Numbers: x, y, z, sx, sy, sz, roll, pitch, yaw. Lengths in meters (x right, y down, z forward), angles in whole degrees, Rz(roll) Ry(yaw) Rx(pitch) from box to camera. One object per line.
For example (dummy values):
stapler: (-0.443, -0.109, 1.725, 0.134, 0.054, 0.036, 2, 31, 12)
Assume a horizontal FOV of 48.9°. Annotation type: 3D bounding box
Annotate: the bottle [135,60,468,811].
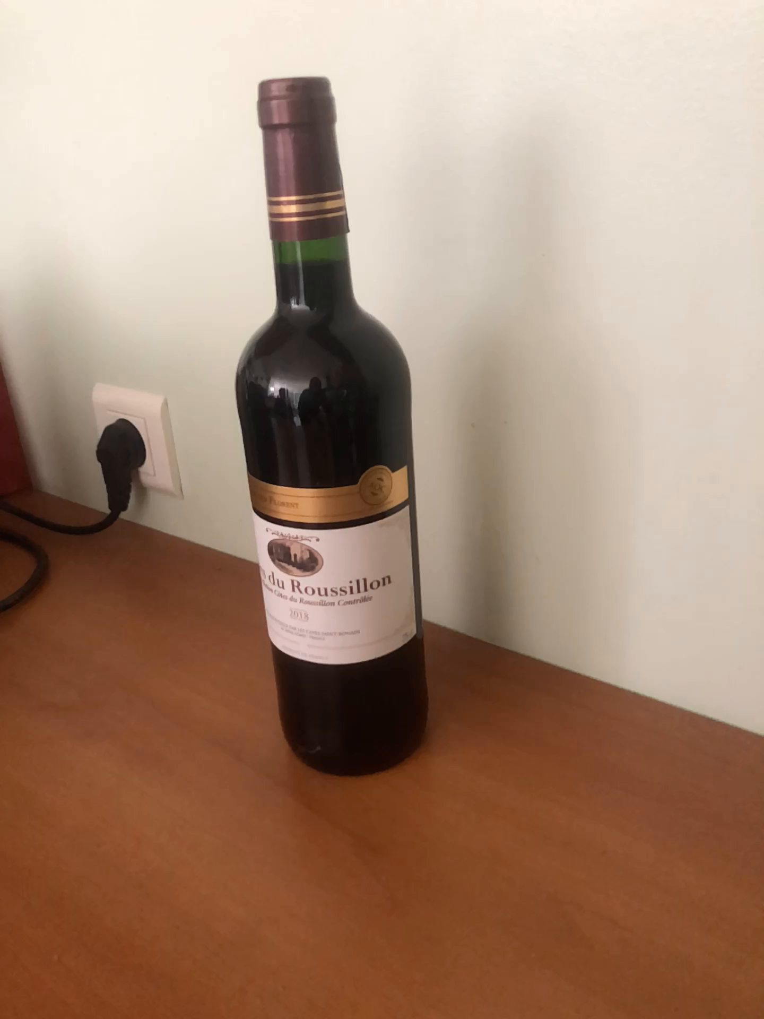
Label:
bottle: (-0.021, -0.024, 0.356, 0.080, 0.288, 0.080, -3, 24, 1)
